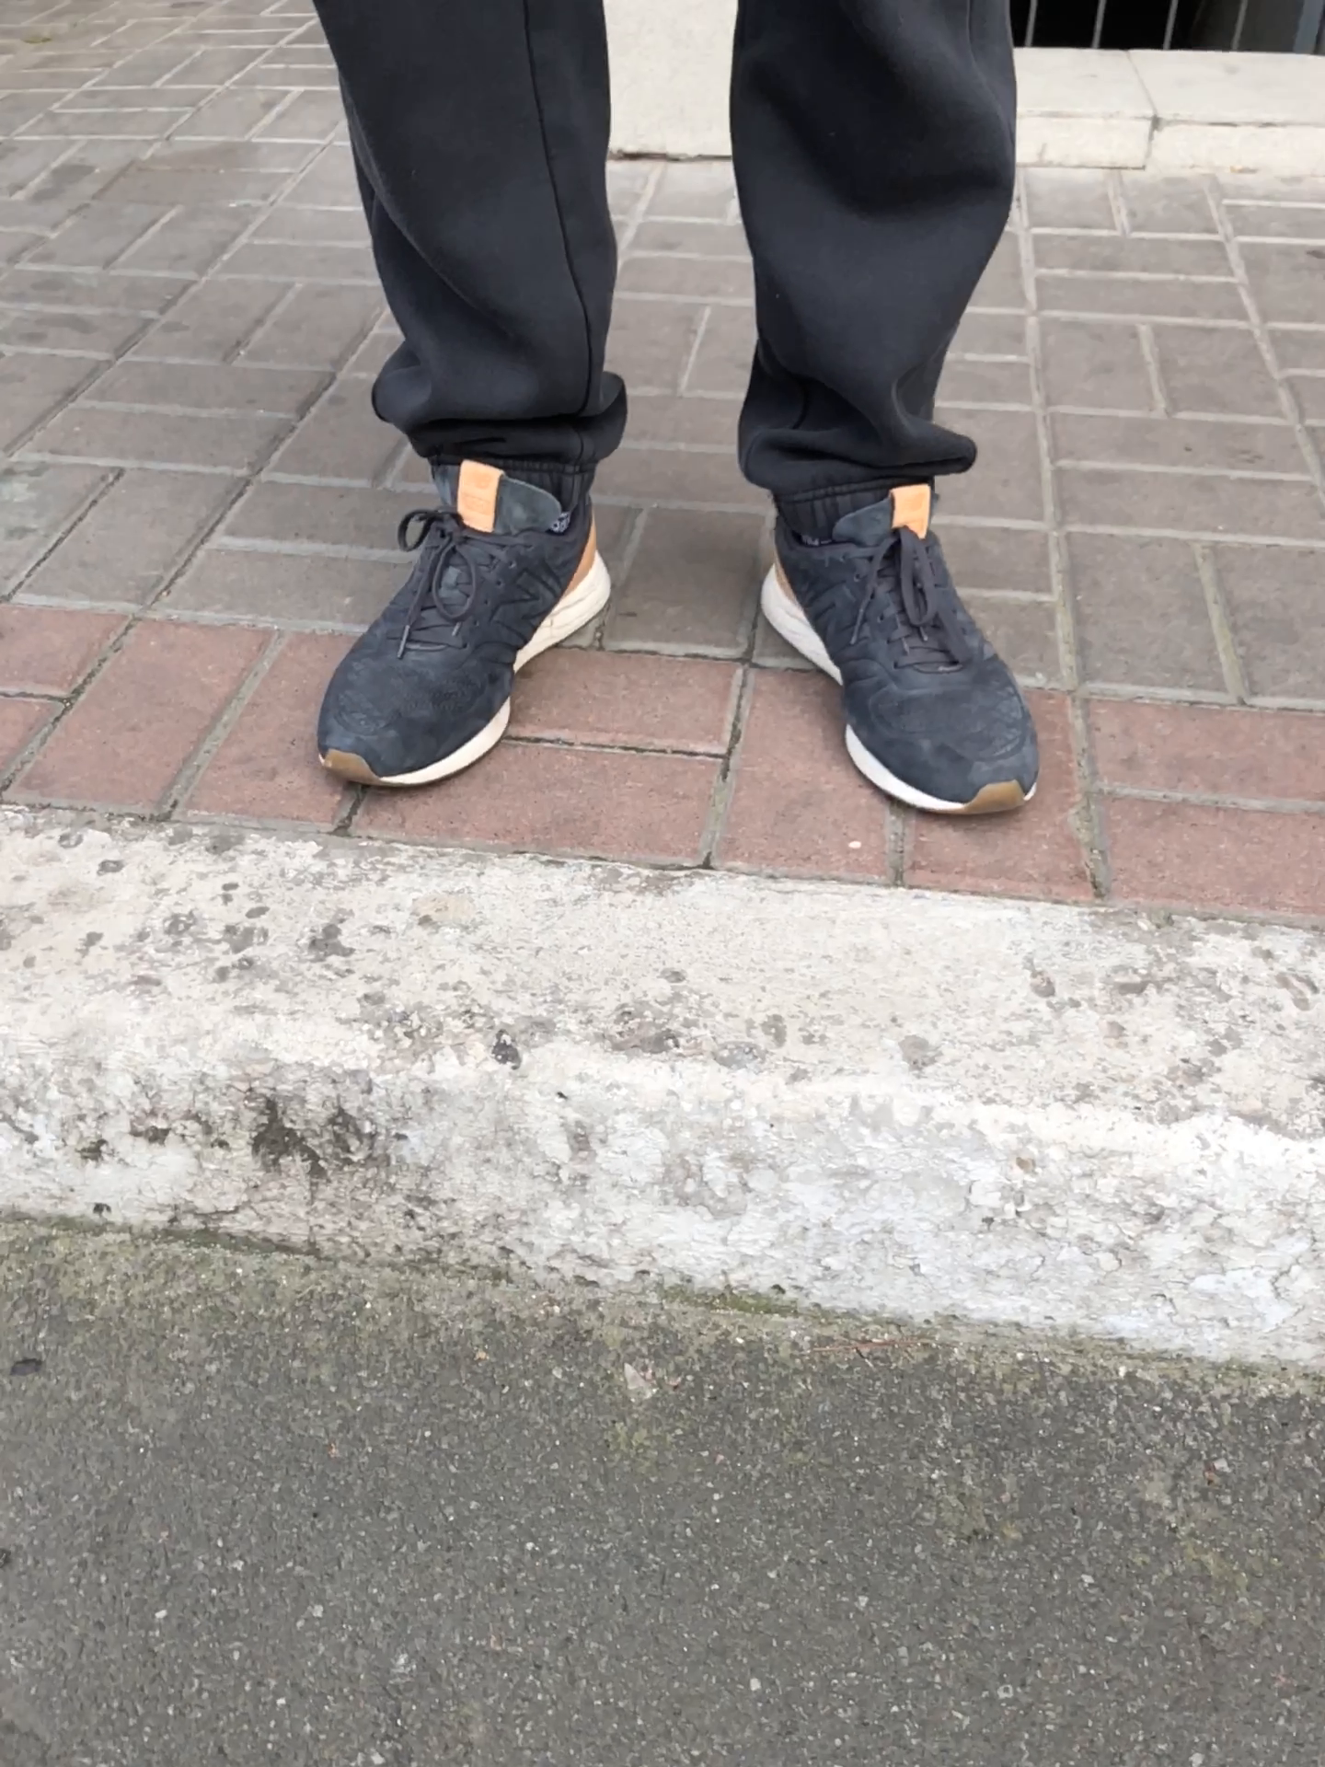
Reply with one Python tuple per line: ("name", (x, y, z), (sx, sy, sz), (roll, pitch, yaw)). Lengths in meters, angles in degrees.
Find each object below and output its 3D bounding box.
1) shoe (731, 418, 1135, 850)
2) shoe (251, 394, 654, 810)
("shoe", (0.139, -0.156, 0.838), (0.104, 0.109, 0.282), (-12, 41, -14))
("shoe", (-0.107, -0.177, 0.857), (0.104, 0.109, 0.282), (15, 42, 17))
